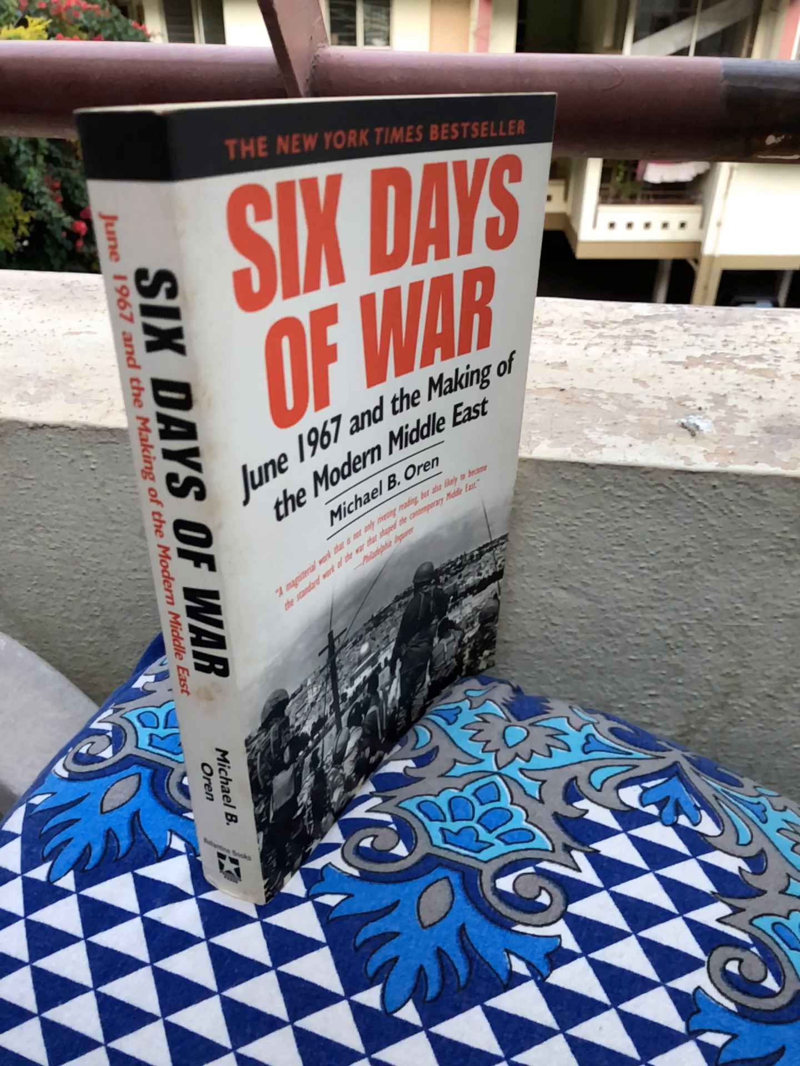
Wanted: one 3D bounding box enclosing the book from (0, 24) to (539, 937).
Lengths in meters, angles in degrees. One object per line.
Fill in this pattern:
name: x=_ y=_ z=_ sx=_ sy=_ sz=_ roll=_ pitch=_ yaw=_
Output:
book: x=-0.016 y=-0.023 z=0.301 sx=0.050 sy=0.249 sz=0.181 roll=15 pitch=36 yaw=27
